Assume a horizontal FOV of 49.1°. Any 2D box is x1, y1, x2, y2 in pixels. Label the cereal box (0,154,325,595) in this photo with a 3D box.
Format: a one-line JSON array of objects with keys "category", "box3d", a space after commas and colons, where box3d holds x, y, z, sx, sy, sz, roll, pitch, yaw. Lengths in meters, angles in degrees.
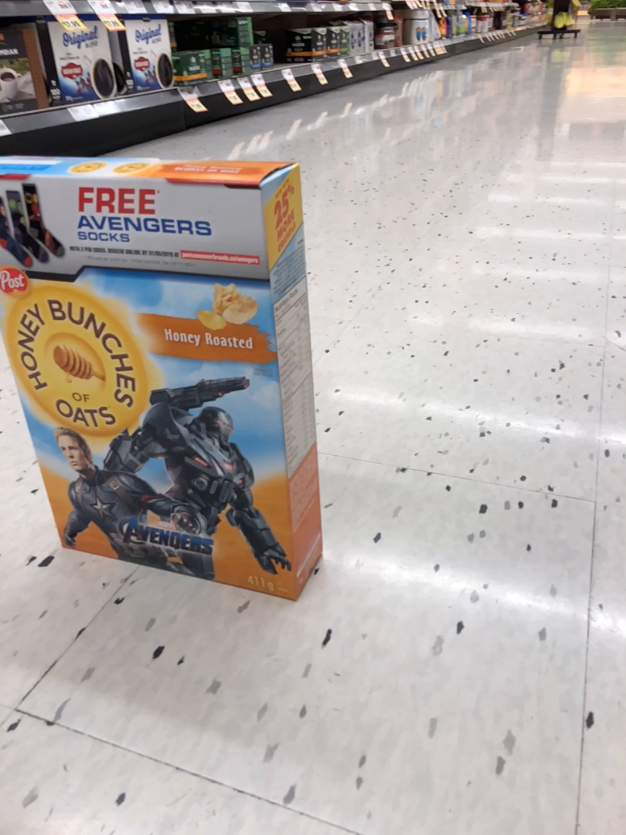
[{"category": "cereal box", "box3d": [-0.101, -0.025, 0.436, 0.200, 0.258, 0.060, 7, 31, 17]}]
